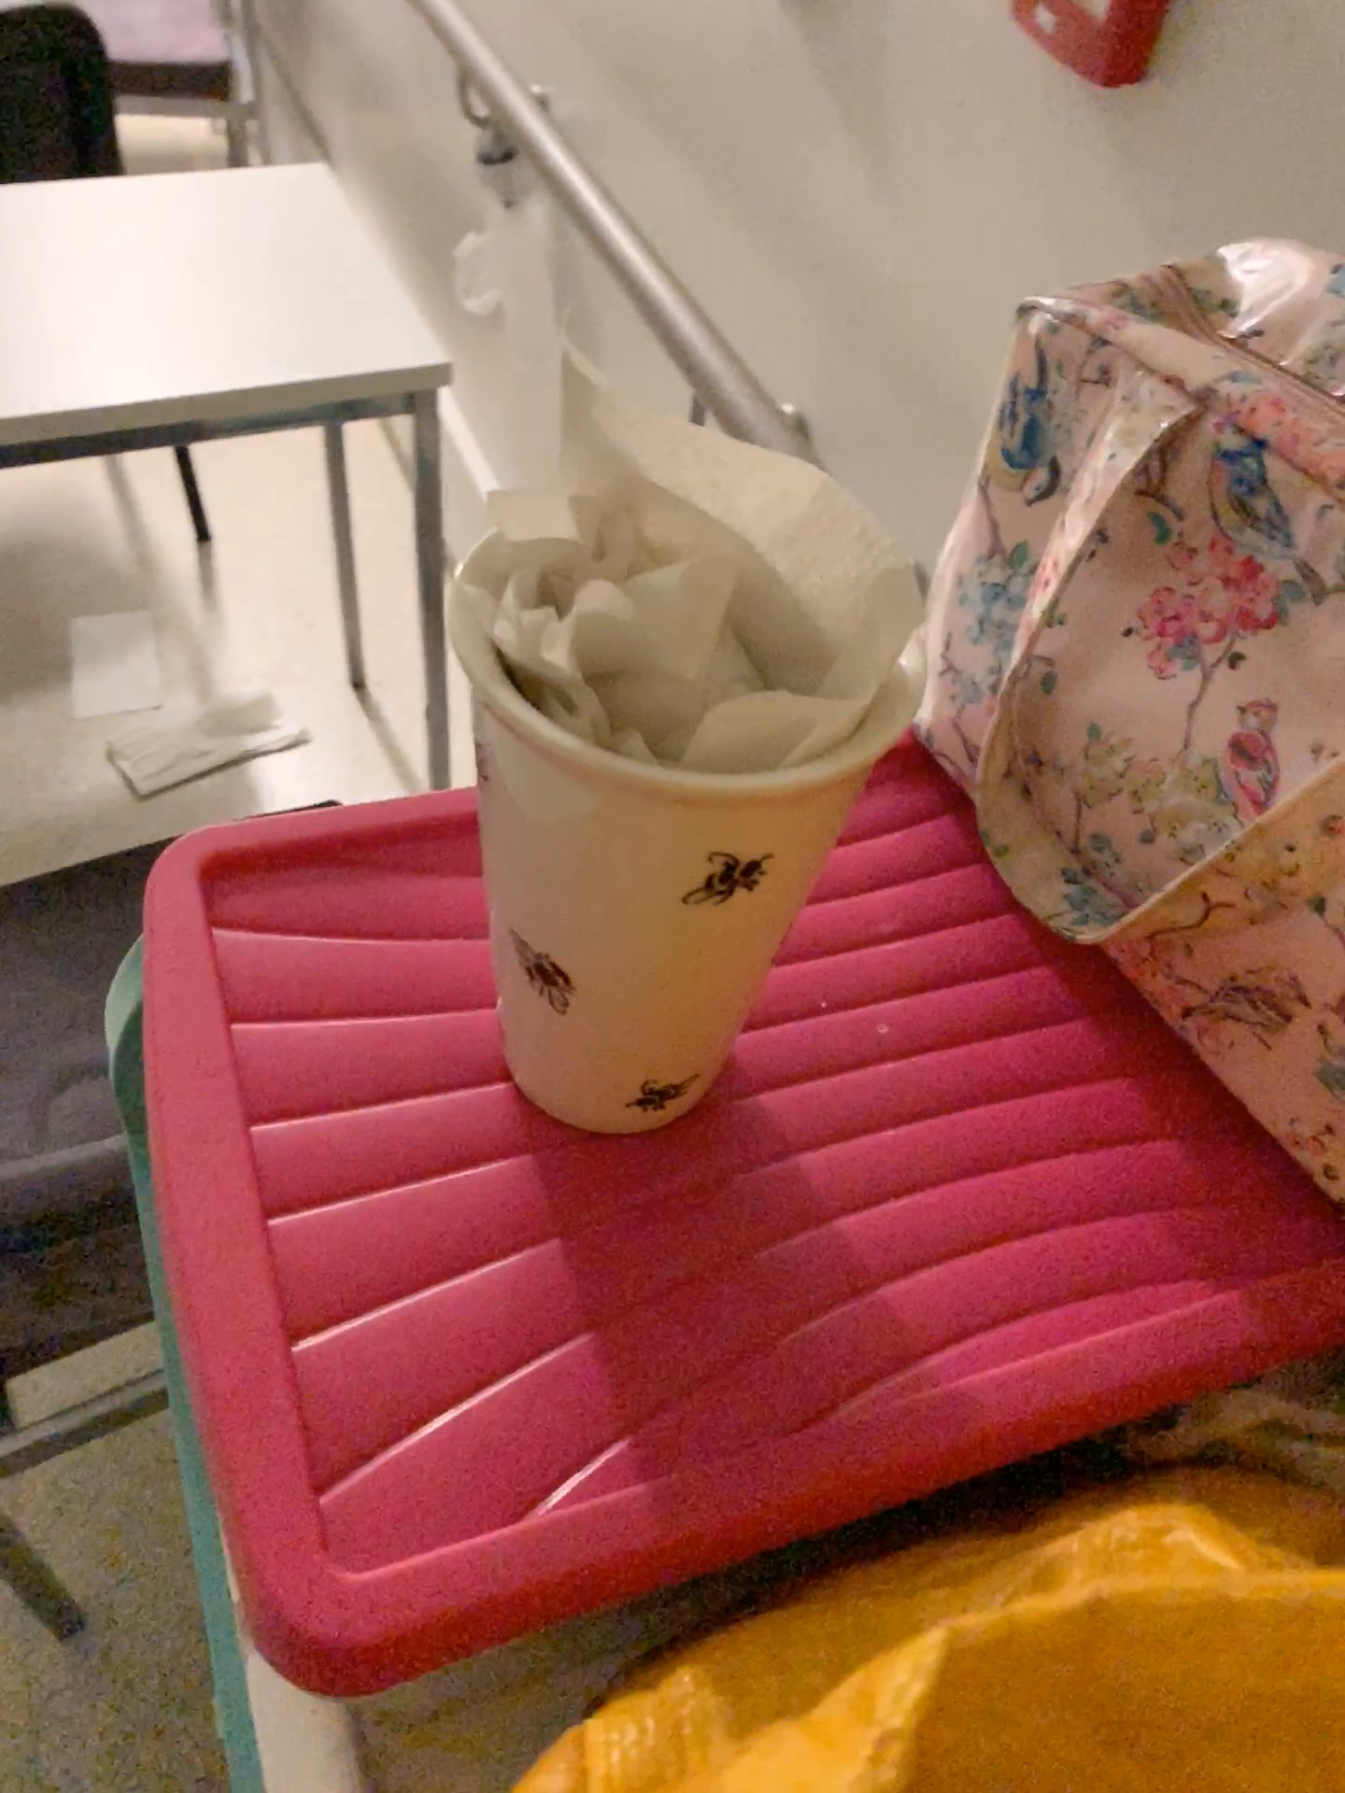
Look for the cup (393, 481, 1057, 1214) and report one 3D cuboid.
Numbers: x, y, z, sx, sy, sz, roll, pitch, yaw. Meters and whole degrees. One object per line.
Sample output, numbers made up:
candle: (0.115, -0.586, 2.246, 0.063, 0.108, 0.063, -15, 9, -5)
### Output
cup: (0.000, -0.012, 0.302, 0.098, 0.112, 0.090, 6, 47, -6)
